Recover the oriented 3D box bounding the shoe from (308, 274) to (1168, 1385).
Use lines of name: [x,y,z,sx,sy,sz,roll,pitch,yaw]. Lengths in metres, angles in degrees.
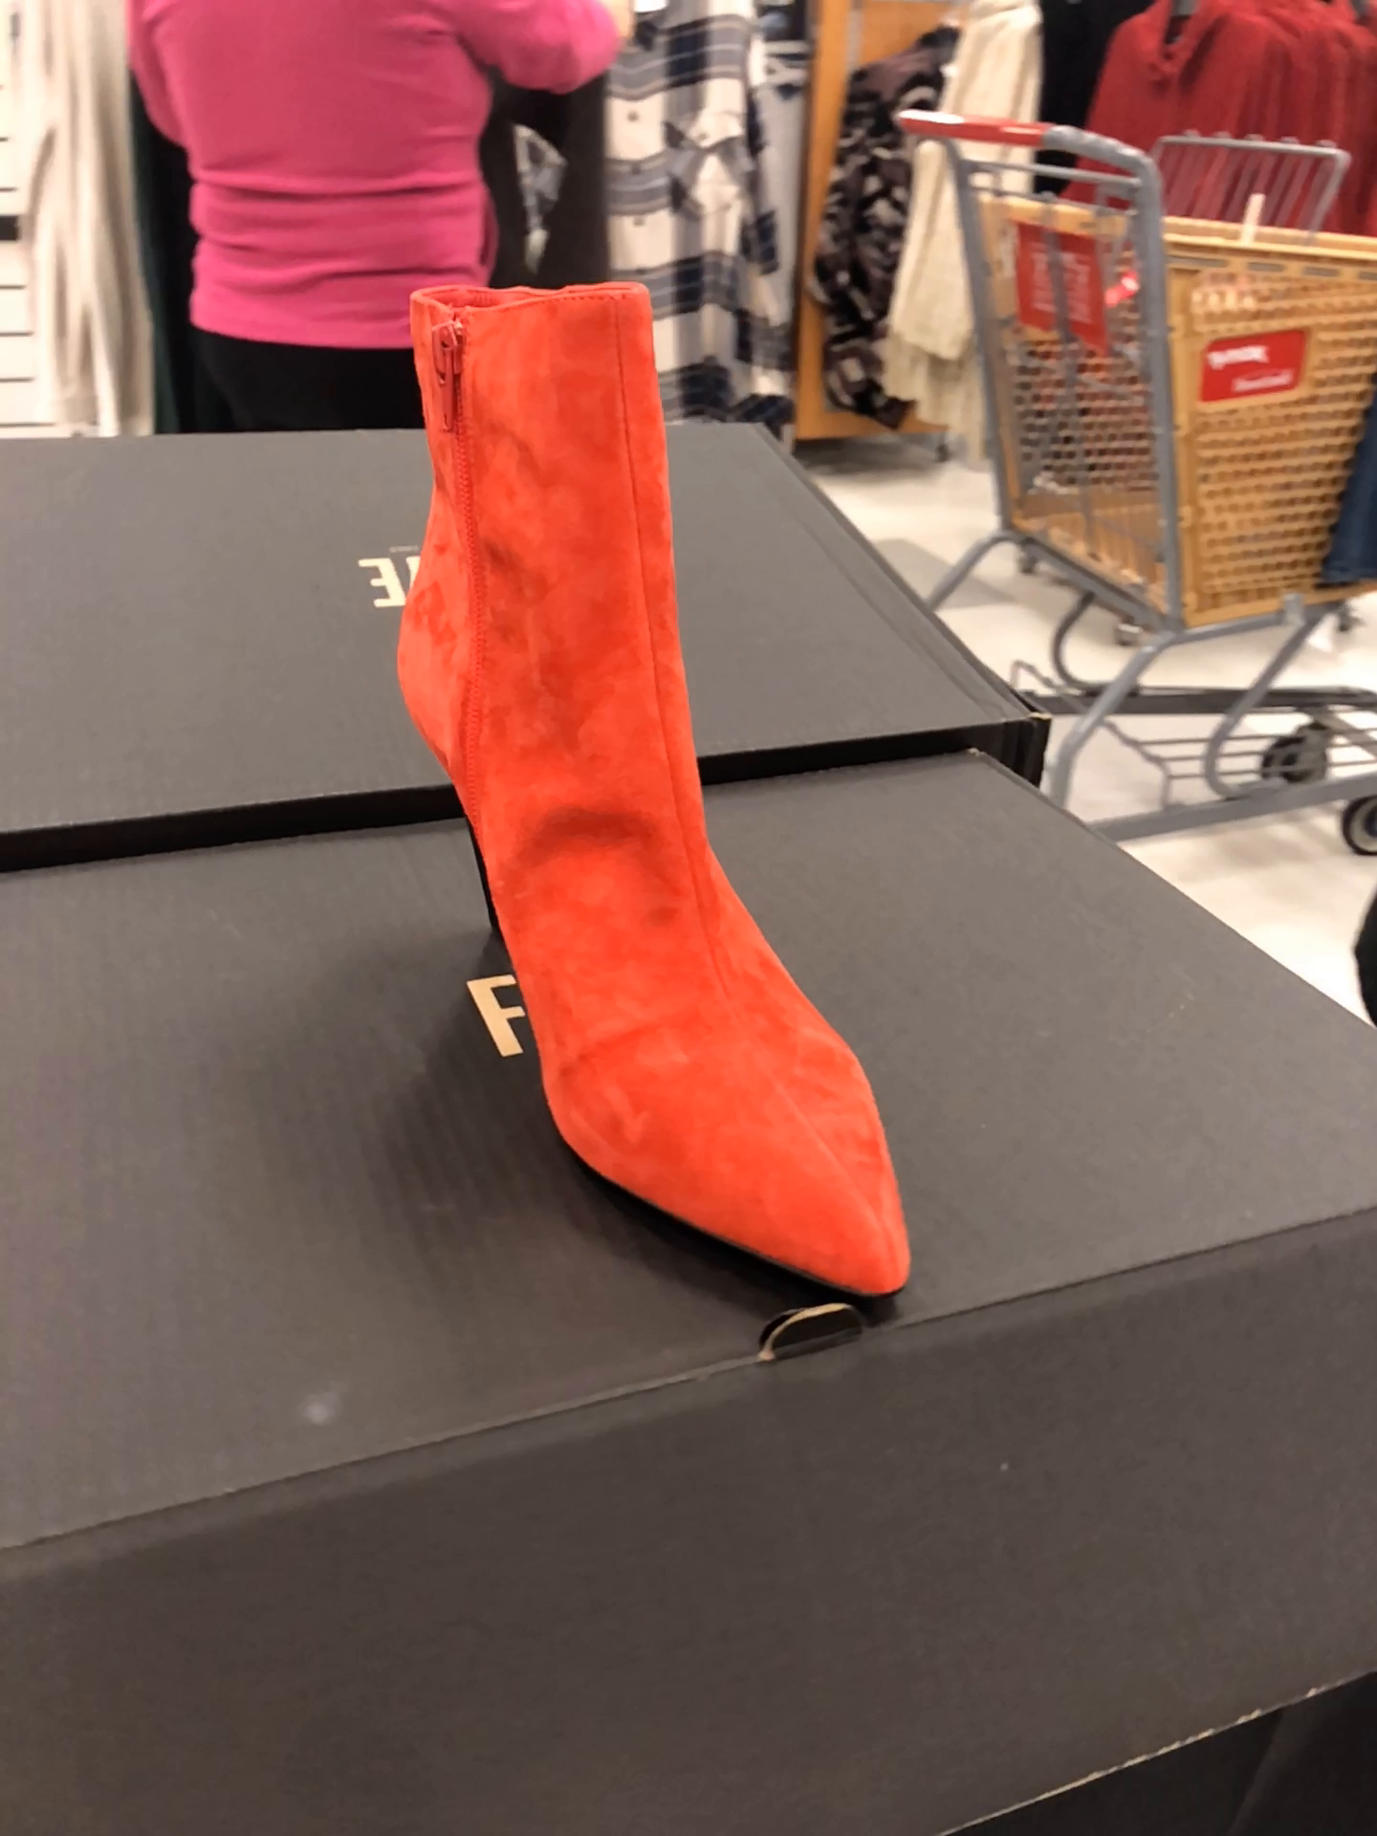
shoe: [-0.013,-0.055,0.408,0.100,0.211,0.262,-11,26,-23]
